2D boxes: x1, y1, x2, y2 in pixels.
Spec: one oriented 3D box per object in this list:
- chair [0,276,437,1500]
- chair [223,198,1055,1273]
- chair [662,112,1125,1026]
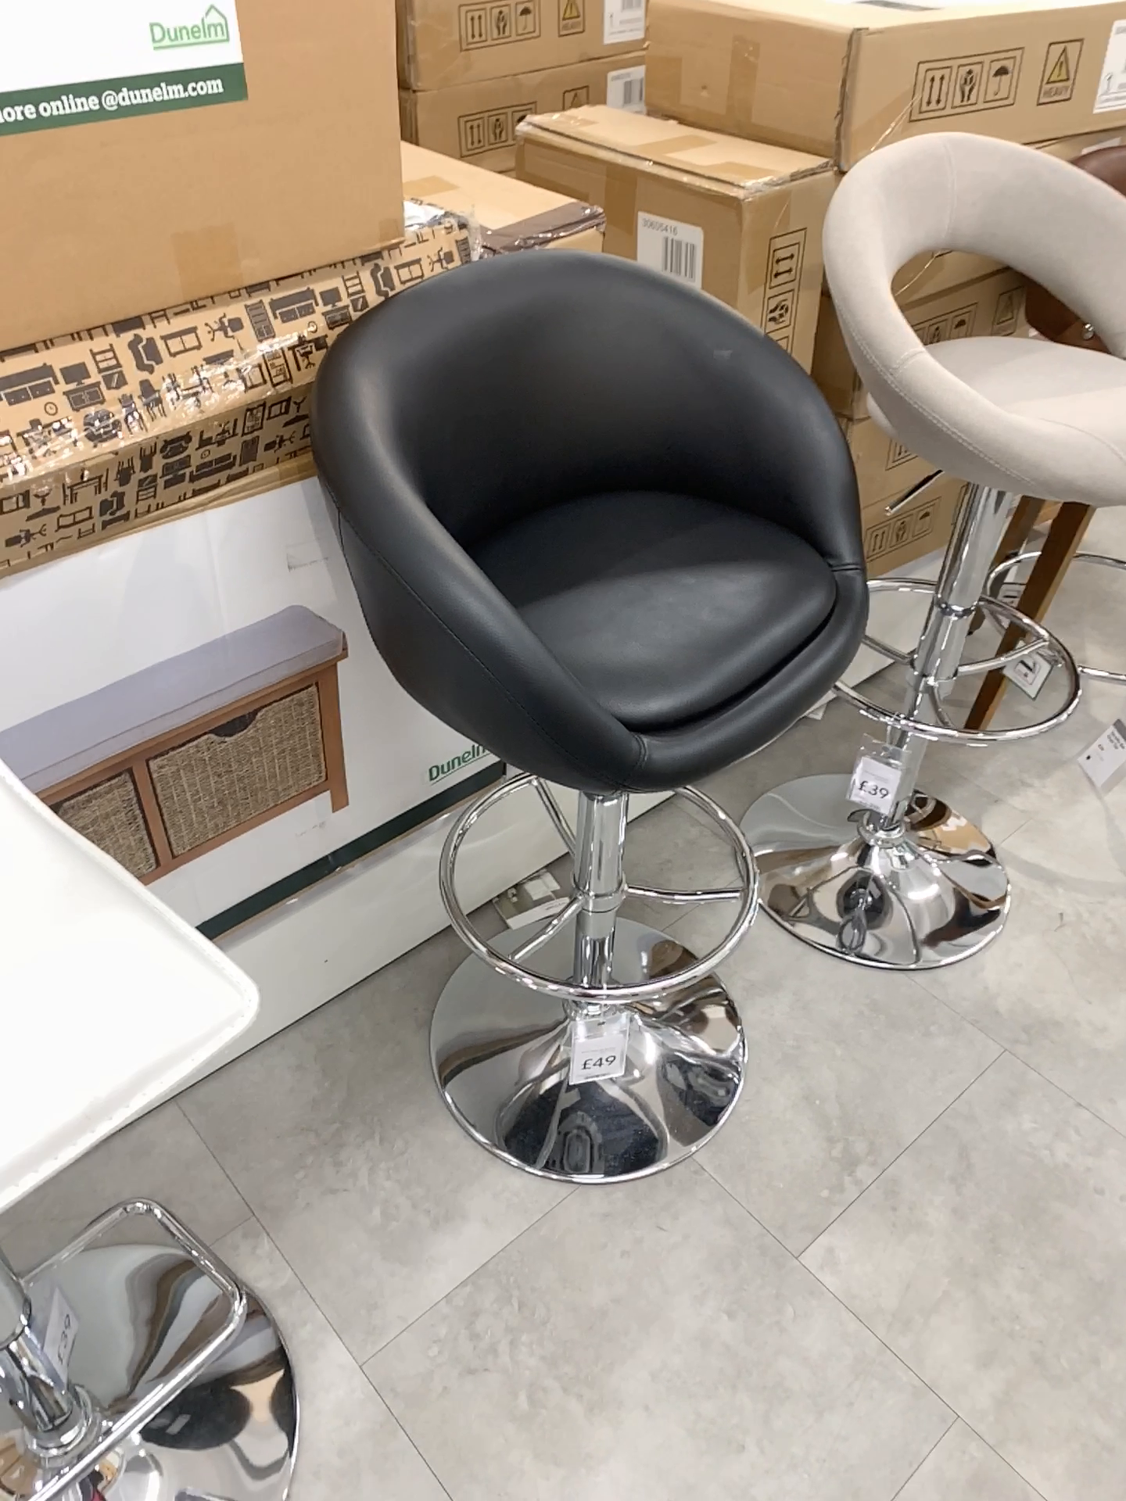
[{"bbox_3d":[-0.416,0.270,0.779,0.442,0.947,0.447,30,46,29],"label":"chair"},{"bbox_3d":[0.051,-0.004,1.160,0.442,0.868,0.476,32,48,31],"label":"chair"},{"bbox_3d":[0.468,-0.202,1.411,0.432,0.918,0.447,30,46,29],"label":"chair"}]
